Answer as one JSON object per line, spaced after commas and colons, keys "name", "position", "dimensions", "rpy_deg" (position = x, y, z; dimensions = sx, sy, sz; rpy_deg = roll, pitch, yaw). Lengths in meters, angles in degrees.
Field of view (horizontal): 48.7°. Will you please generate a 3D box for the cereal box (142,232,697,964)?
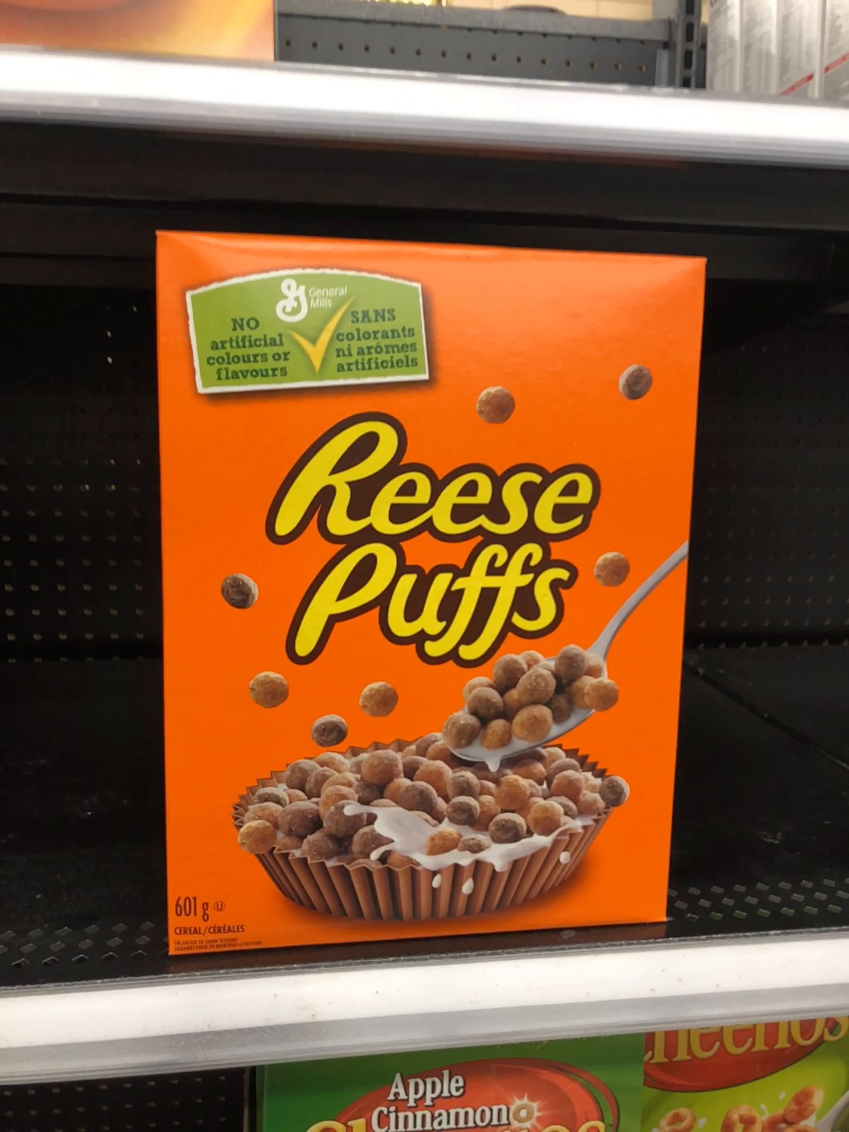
{"name": "cereal box", "position": [-0.004, 0.015, 0.457], "dimensions": [0.240, 0.319, 0.070], "rpy_deg": [-1, 8, -10]}
